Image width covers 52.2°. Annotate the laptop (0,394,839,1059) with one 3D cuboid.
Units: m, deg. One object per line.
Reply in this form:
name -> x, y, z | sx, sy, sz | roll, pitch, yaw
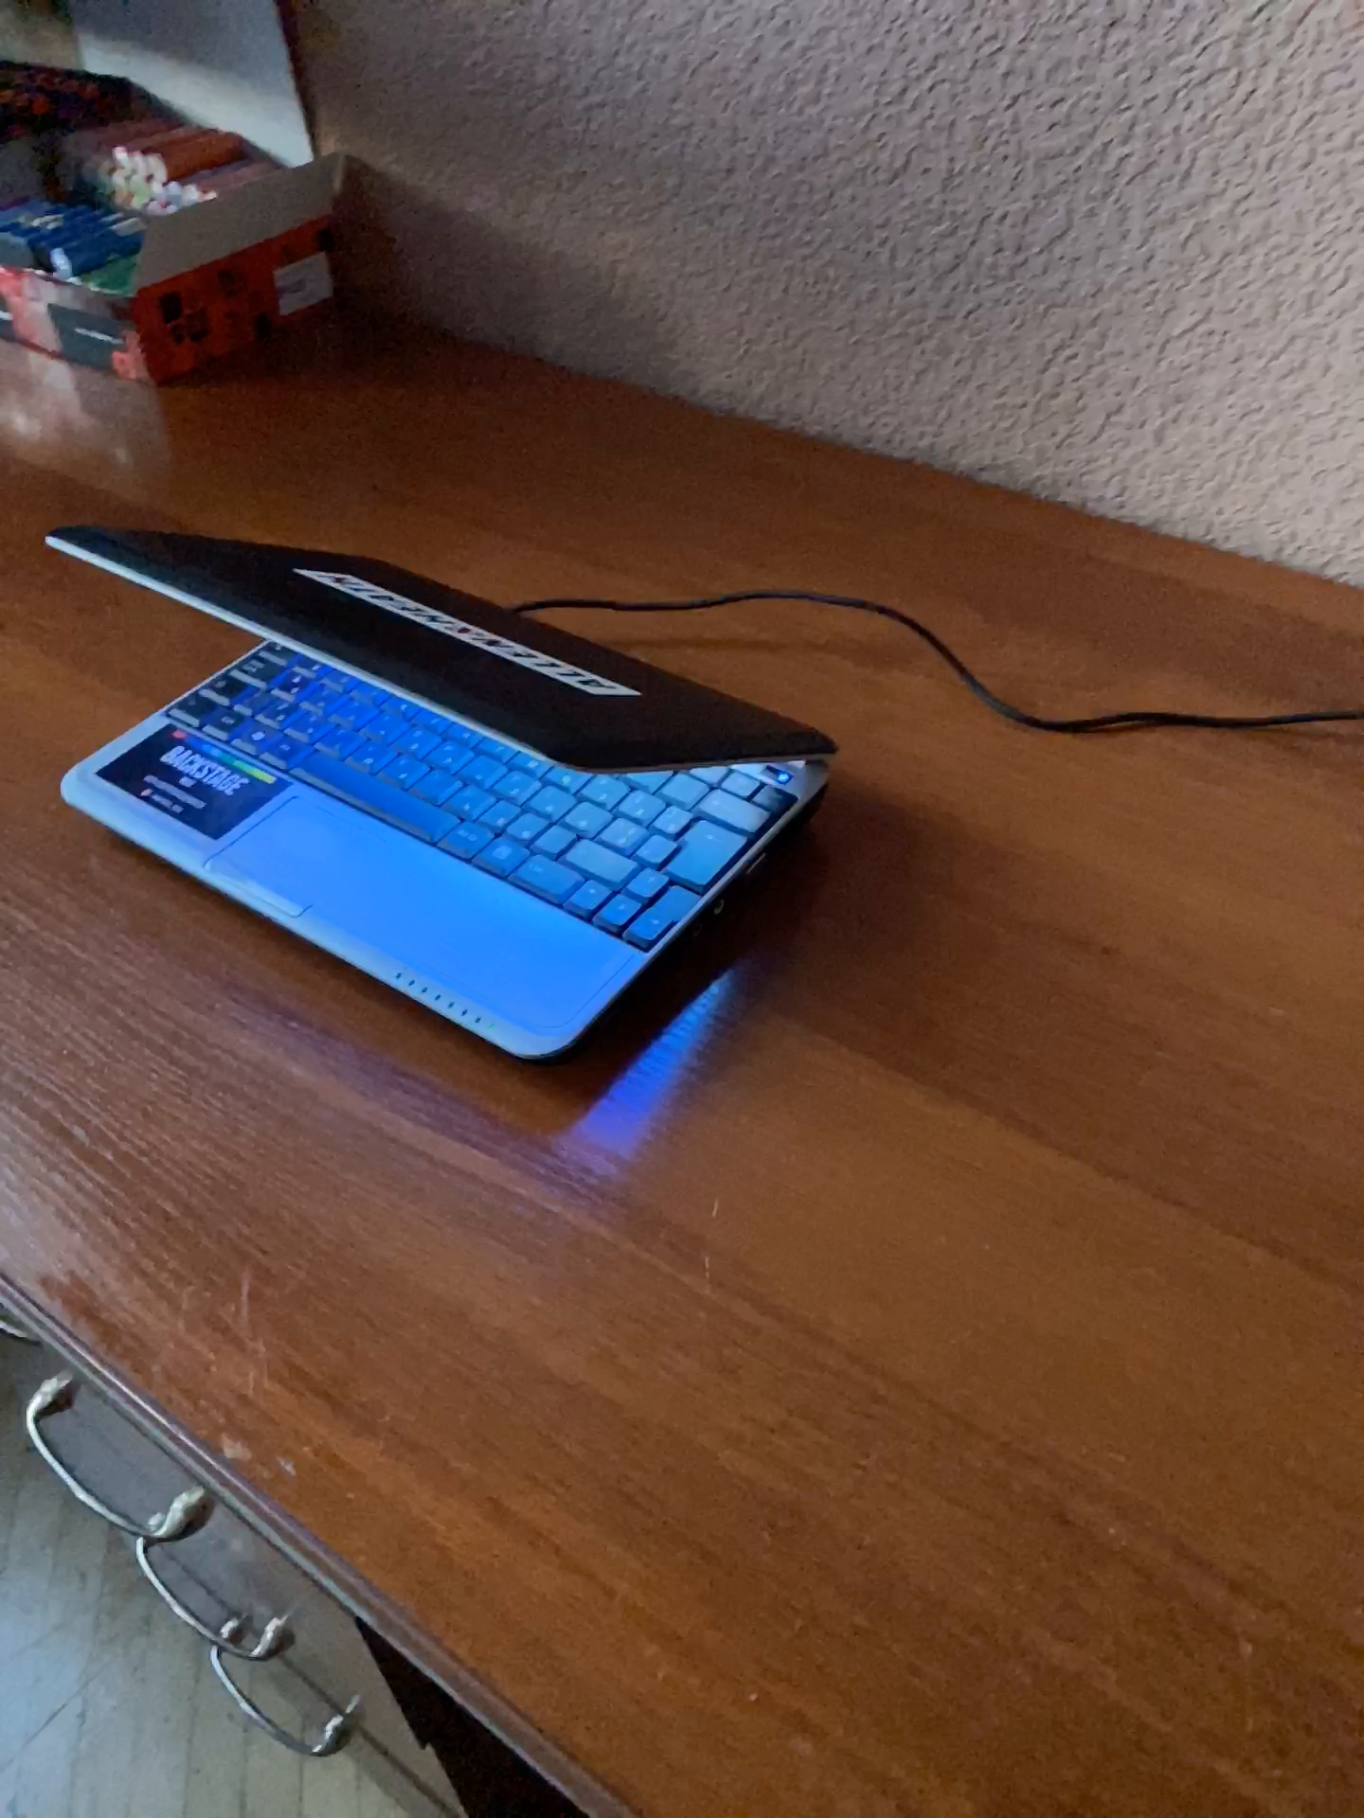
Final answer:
laptop -> -0.102, -0.087, 0.523 | 0.266, 0.088, 0.173 | 25, 52, 28
